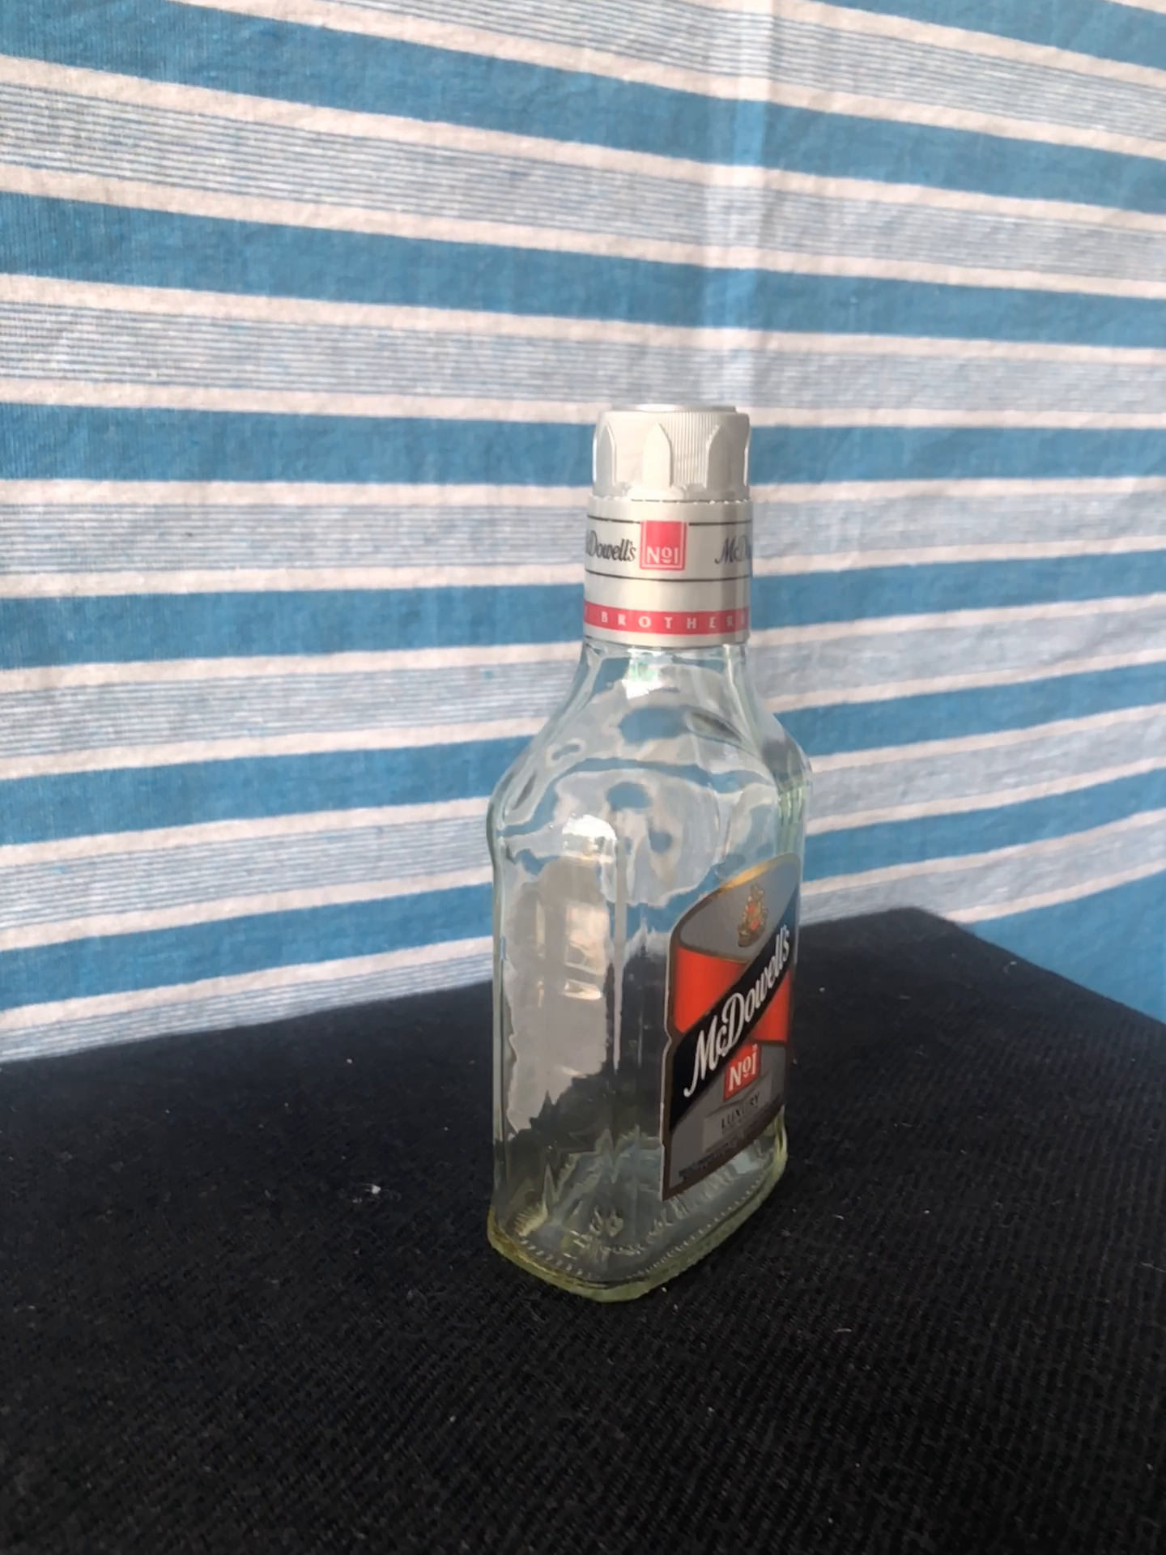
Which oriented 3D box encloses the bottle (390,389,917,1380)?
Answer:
[{"bbox_3d":[0.011,0.012,0.230,0.050,0.149,0.070,15,19,34],"label":"bottle"}]
